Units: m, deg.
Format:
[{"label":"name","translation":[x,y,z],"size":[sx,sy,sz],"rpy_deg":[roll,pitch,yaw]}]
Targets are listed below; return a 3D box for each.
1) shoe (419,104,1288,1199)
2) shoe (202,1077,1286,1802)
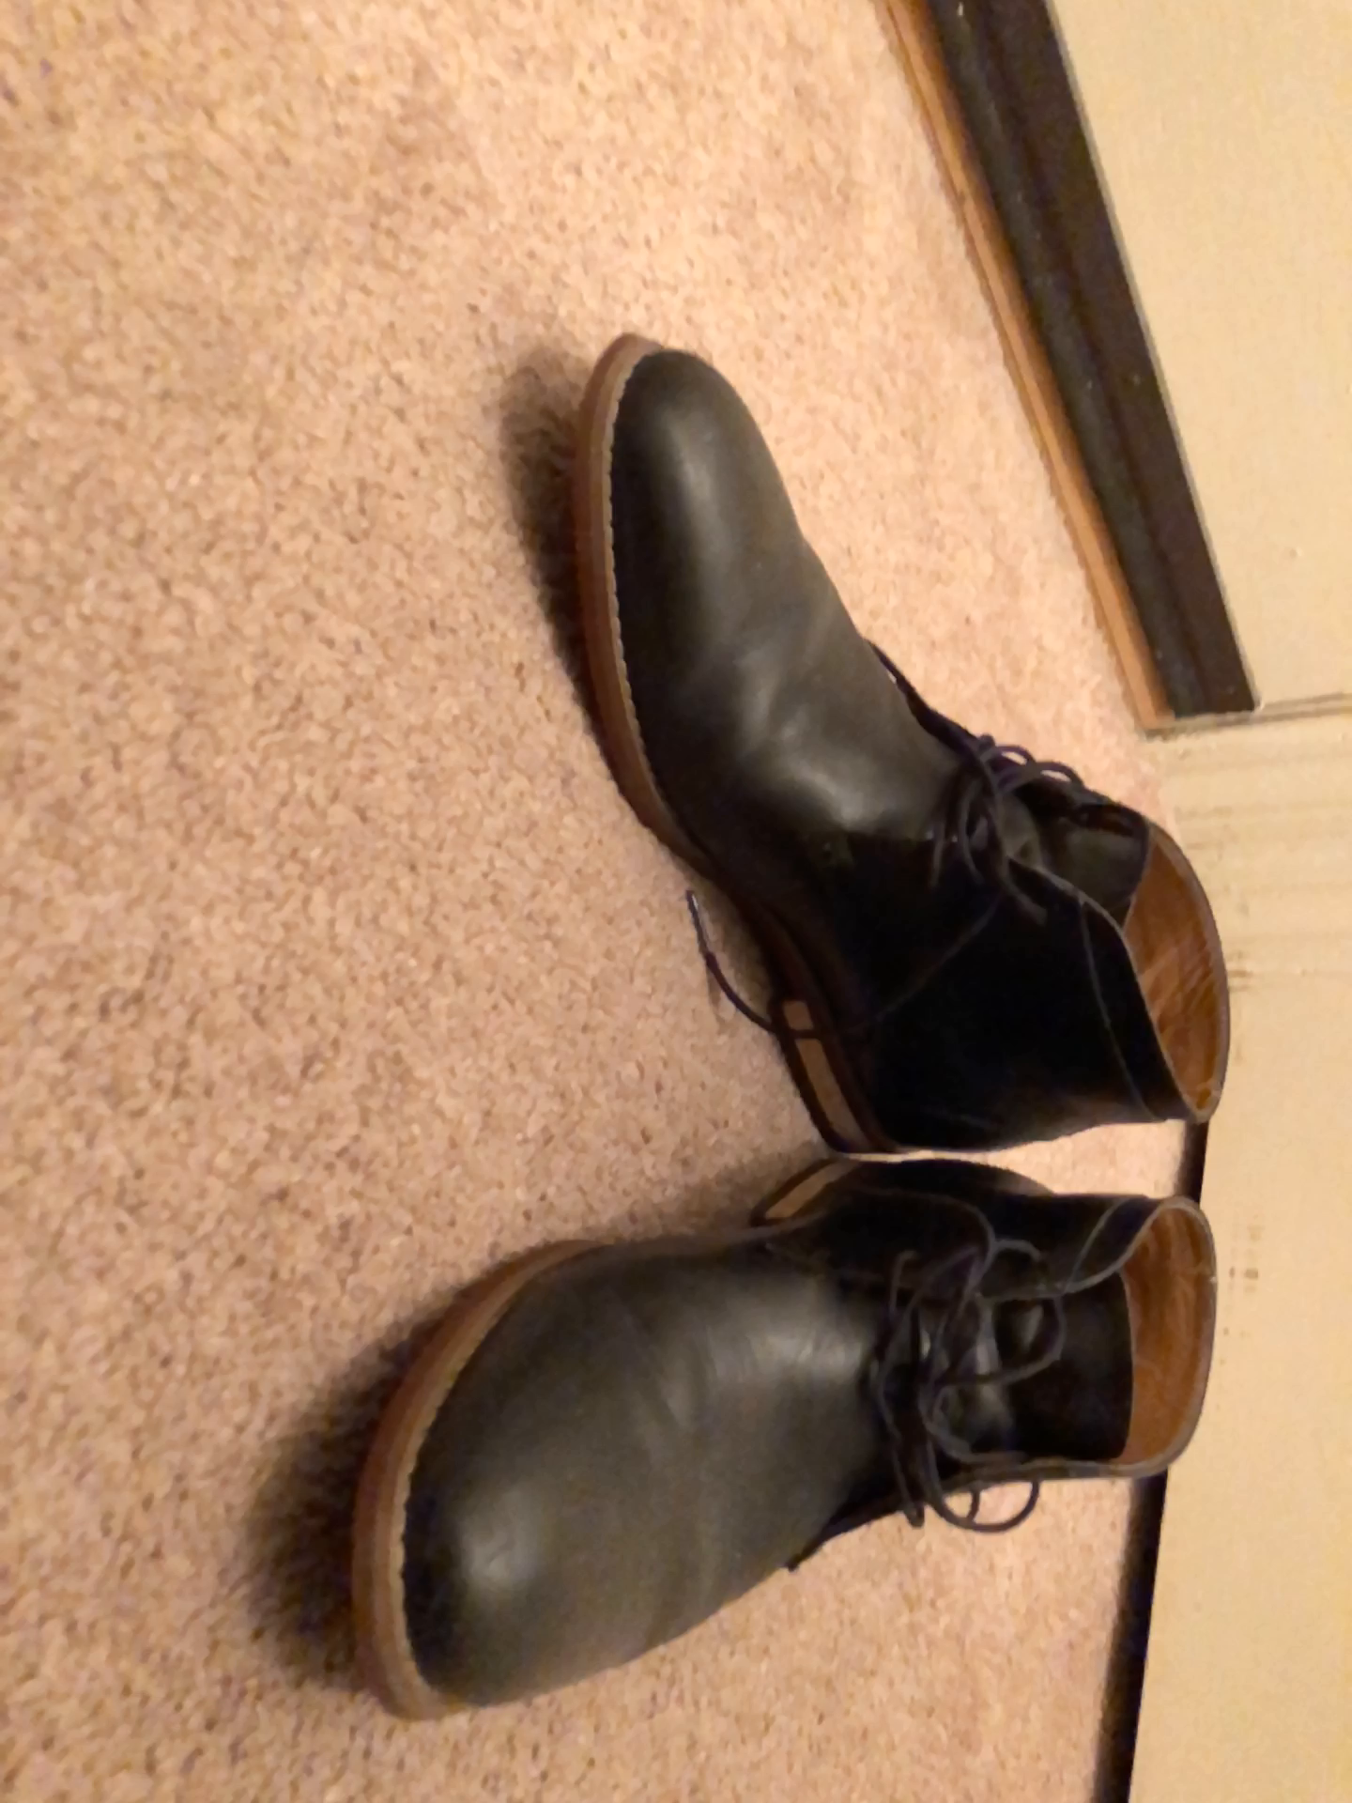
[{"label":"shoe","translation":[0.080,-0.044,0.450],"size":[0.303,0.135,0.116],"rpy_deg":[56,43,-38]},{"label":"shoe","translation":[0.052,0.136,0.383],"size":[0.304,0.135,0.116],"rpy_deg":[-12,97,-57]}]
